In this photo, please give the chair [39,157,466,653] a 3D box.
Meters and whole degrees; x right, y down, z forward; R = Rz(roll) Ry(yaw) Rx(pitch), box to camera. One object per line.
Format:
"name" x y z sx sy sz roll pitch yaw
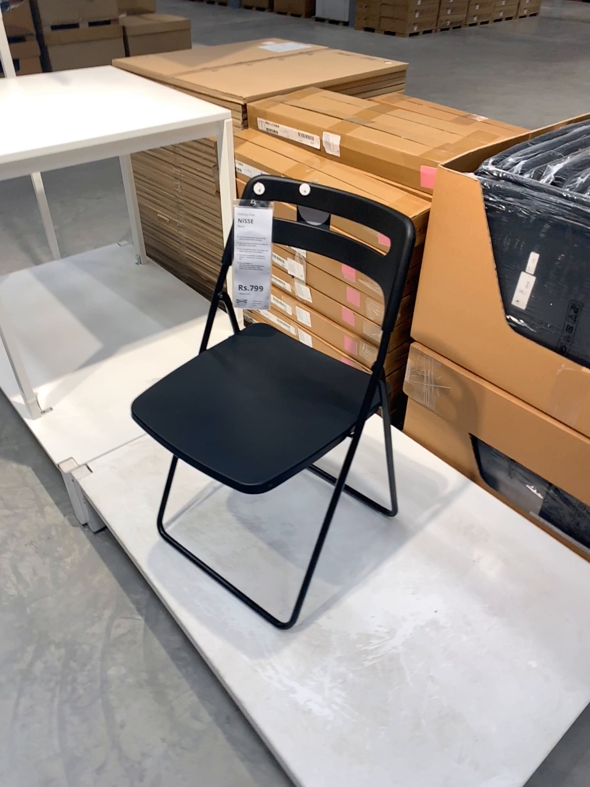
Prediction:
"chair" -0.059 0.001 1.110 0.461 0.657 0.451 28 46 30
